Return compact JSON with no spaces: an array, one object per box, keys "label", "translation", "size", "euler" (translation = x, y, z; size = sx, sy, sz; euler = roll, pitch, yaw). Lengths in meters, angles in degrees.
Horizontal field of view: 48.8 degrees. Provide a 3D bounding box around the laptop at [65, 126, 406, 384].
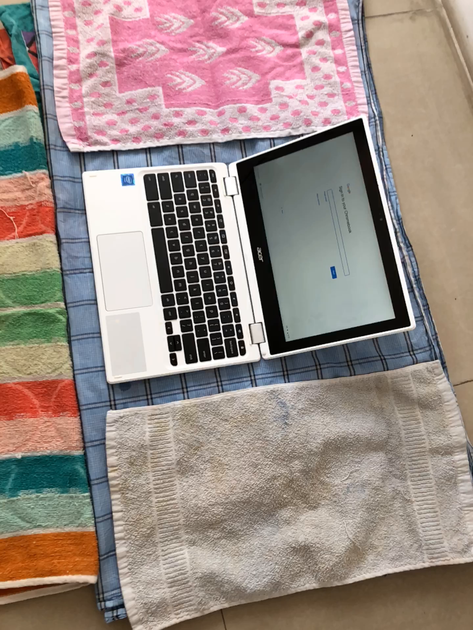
[{"label":"laptop","translation":[-0.002,-0.081,0.669],"size":[0.367,0.101,0.285],"euler":[-7,79,-12]}]
